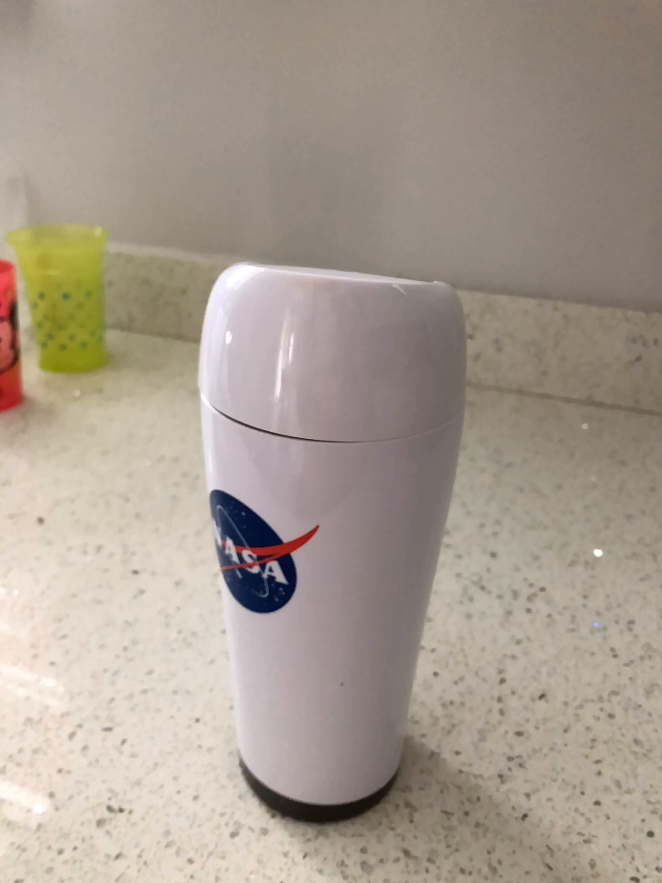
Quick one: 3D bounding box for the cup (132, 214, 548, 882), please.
[{"bbox_3d":[0.000,0.030,0.240,0.081,0.182,0.078,1,26,-1],"label":"cup"}]
